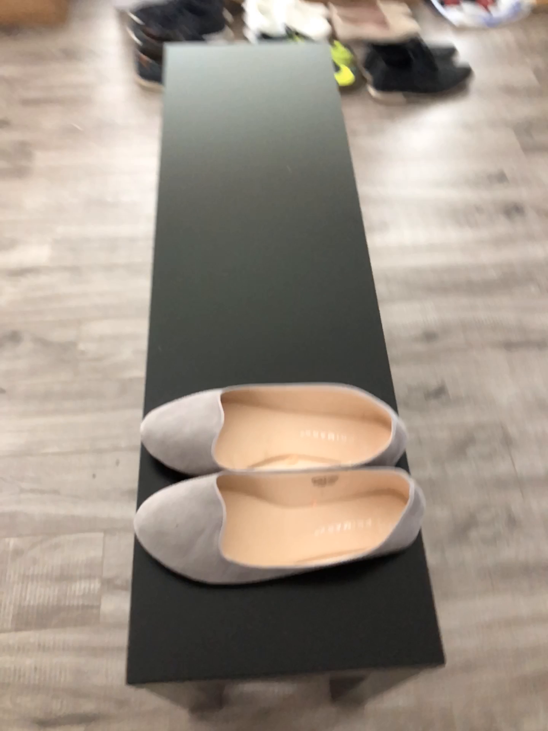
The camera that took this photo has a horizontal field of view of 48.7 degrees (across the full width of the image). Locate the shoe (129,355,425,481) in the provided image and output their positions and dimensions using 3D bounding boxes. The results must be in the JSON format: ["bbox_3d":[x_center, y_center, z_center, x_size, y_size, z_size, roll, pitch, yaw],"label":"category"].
[{"bbox_3d":[0.002,0.048,0.563,0.250,0.060,0.100,0,58,-1],"label":"shoe"}]

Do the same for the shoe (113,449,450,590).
[{"bbox_3d":[0.005,0.130,0.512,0.256,0.060,0.100,0,58,-1],"label":"shoe"}]
